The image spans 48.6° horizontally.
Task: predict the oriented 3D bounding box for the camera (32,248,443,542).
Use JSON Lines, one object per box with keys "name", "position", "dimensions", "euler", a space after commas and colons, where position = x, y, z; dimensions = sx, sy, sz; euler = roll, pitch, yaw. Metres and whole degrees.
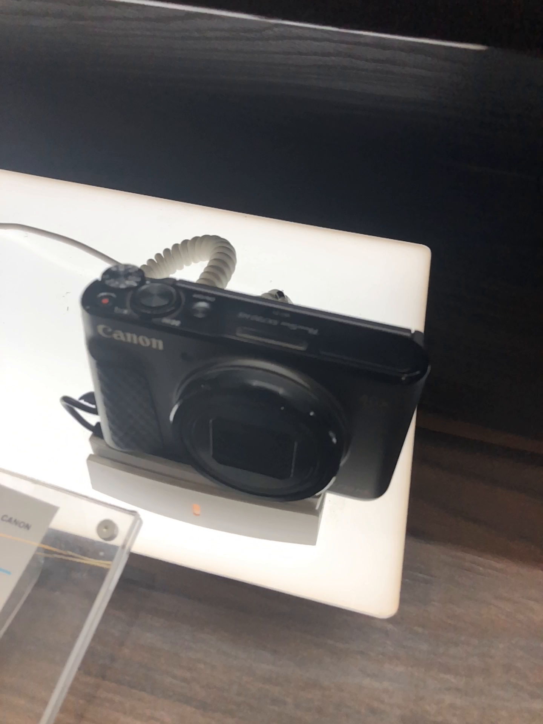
{"name": "camera", "position": [-0.010, 0.012, 0.199], "dimensions": [0.114, 0.069, 0.035], "euler": [12, 44, 8]}
